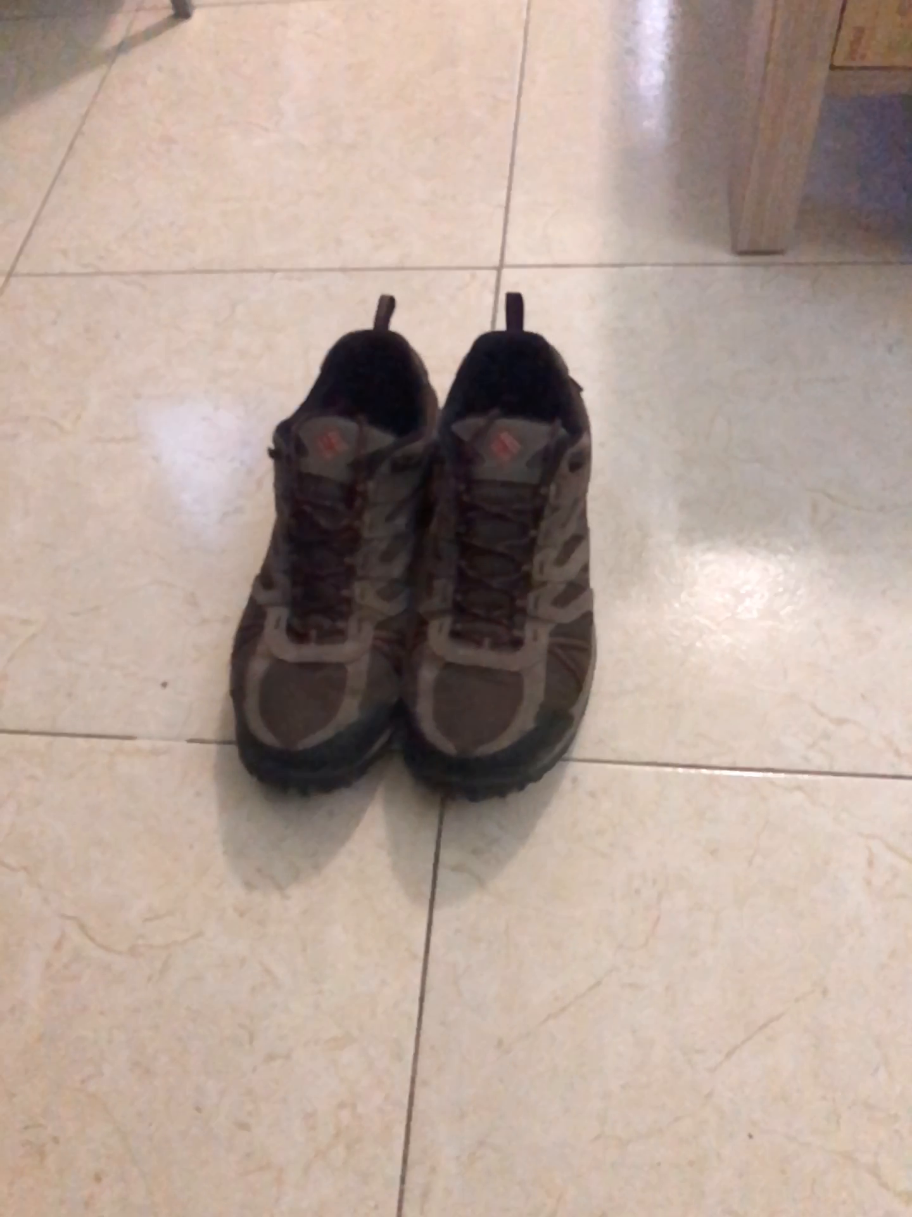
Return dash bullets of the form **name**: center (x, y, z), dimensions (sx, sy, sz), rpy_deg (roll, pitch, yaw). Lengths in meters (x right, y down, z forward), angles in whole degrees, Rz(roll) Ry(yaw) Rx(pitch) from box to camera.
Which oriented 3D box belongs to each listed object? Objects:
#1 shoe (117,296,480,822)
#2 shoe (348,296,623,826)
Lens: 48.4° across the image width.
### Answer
- **shoe**: center (-0.077, -0.043, 0.627), dimensions (0.130, 0.110, 0.311), rpy_deg (5, 58, 10)
- **shoe**: center (0.032, -0.041, 0.630), dimensions (0.120, 0.120, 0.311), rpy_deg (4, 58, 9)
